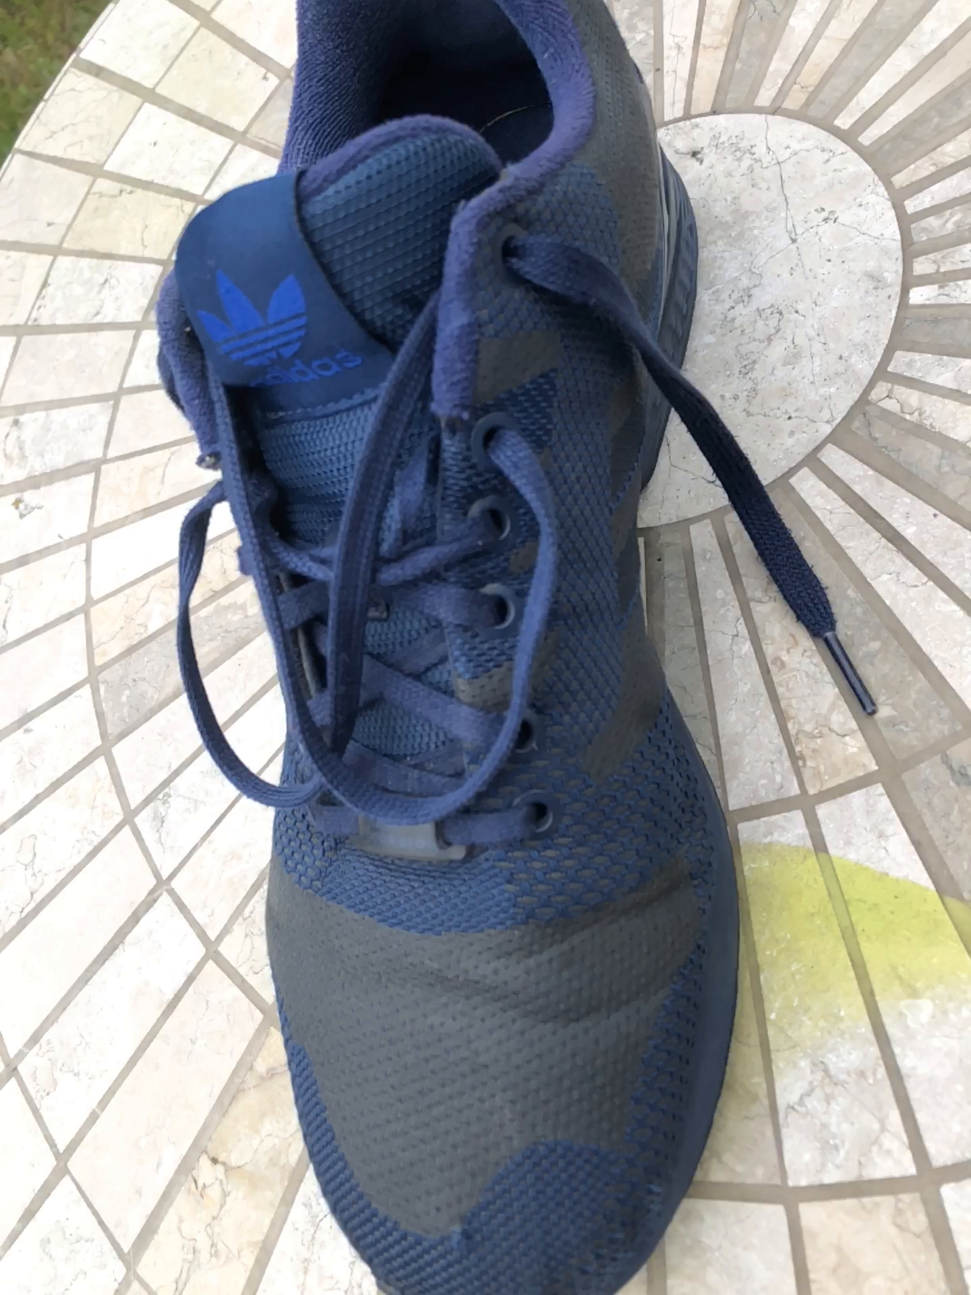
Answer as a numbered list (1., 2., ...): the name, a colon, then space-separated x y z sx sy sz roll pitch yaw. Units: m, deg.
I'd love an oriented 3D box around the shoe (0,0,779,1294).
1. shoe: -0.012 -0.012 0.231 0.110 0.110 0.280 -3 72 30
